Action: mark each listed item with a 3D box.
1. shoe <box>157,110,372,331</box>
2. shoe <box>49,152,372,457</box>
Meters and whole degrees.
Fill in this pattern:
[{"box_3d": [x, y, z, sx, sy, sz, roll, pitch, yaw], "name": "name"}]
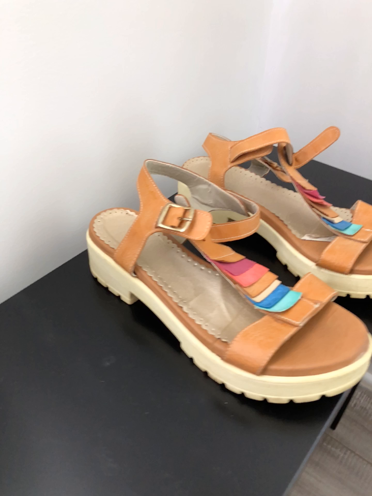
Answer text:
[{"box_3d": [0.097, -0.043, 0.383, 0.248, 0.077, 0.100, 30, 48, 29], "name": "shoe"}, {"box_3d": [0.017, 0.020, 0.318, 0.248, 0.083, 0.100, 30, 48, 29], "name": "shoe"}]
